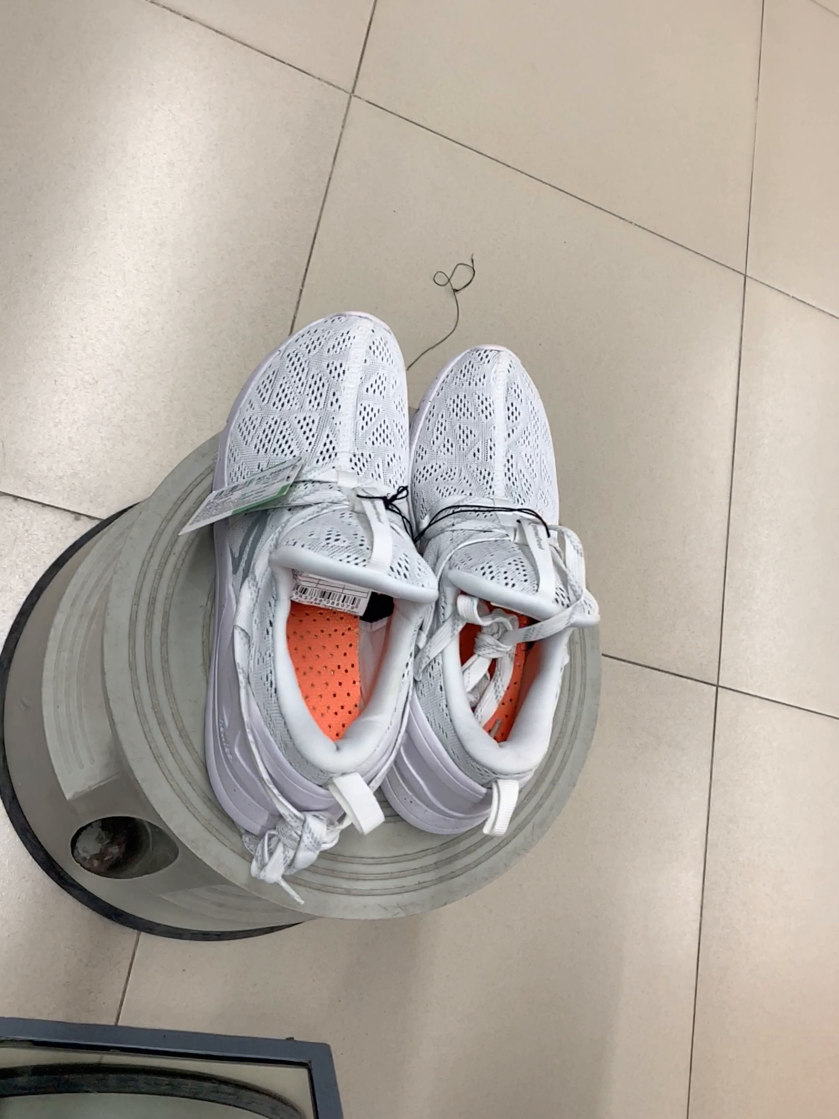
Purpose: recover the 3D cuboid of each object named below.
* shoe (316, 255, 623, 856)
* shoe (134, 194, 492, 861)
[{"bbox_3d":[0.030,0.000,0.449,0.110,0.080,0.280,13,73,-20],"label":"shoe"},{"bbox_3d":[-0.048,-0.012,0.411,0.110,0.090,0.280,13,73,-20],"label":"shoe"}]
